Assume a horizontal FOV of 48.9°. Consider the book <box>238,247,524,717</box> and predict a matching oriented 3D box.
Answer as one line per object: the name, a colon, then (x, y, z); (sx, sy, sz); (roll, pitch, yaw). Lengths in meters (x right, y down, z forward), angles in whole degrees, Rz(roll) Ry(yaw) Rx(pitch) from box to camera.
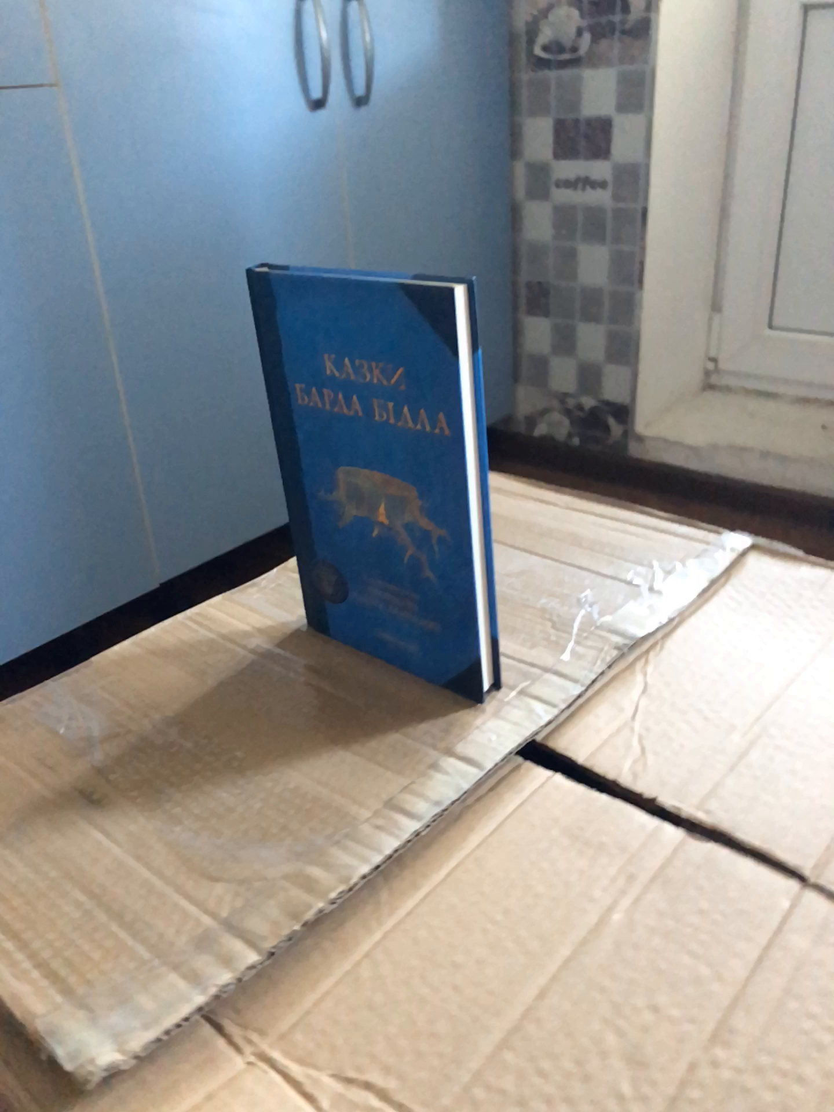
book: (-0.016, -0.038, 0.441); (0.144, 0.199, 0.030); (20, 34, 38)
